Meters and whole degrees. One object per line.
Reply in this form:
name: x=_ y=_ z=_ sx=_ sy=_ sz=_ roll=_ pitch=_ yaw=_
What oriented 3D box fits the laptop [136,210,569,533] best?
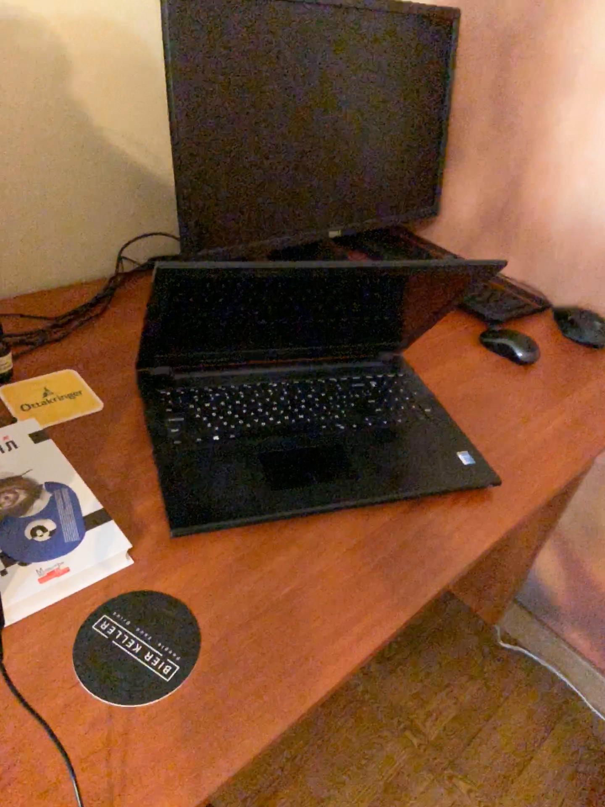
laptop: x=0.028 y=-0.053 z=0.673 sx=0.373 sy=0.202 sz=0.247 roll=-5 pitch=40 yaw=-22
